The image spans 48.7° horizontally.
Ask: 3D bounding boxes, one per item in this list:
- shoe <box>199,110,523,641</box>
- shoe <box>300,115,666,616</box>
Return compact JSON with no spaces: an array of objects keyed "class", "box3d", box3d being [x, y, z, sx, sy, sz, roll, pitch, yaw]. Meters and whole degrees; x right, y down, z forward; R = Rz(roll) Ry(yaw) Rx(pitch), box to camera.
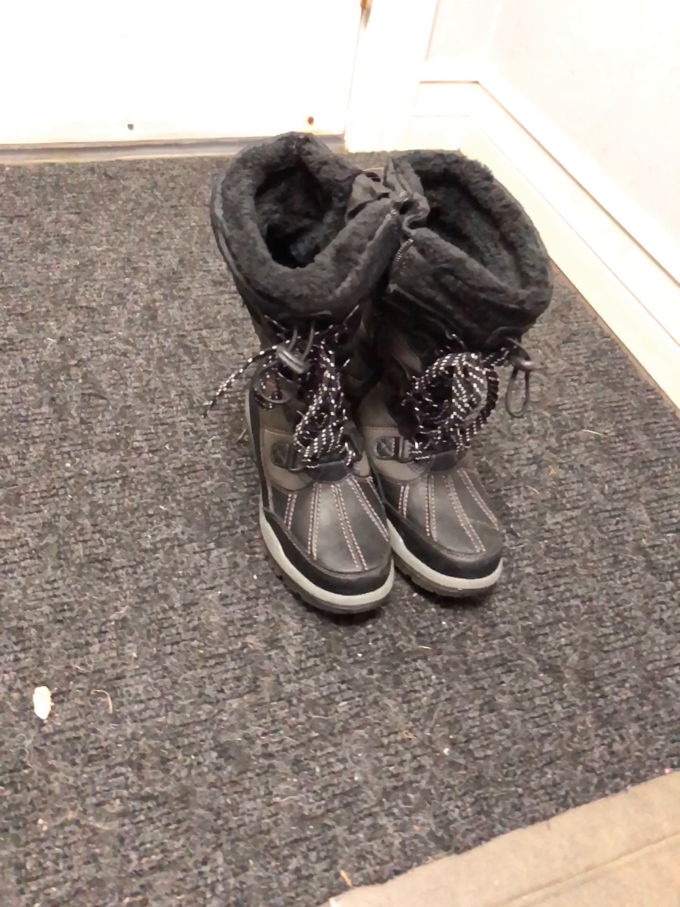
[{"class":"shoe","box3d":[-0.018,-0.056,0.550,0.110,0.269,0.261,-10,51,-19]},{"class":"shoe","box3d":[0.072,-0.067,0.582,0.100,0.269,0.261,-12,51,-20]}]
